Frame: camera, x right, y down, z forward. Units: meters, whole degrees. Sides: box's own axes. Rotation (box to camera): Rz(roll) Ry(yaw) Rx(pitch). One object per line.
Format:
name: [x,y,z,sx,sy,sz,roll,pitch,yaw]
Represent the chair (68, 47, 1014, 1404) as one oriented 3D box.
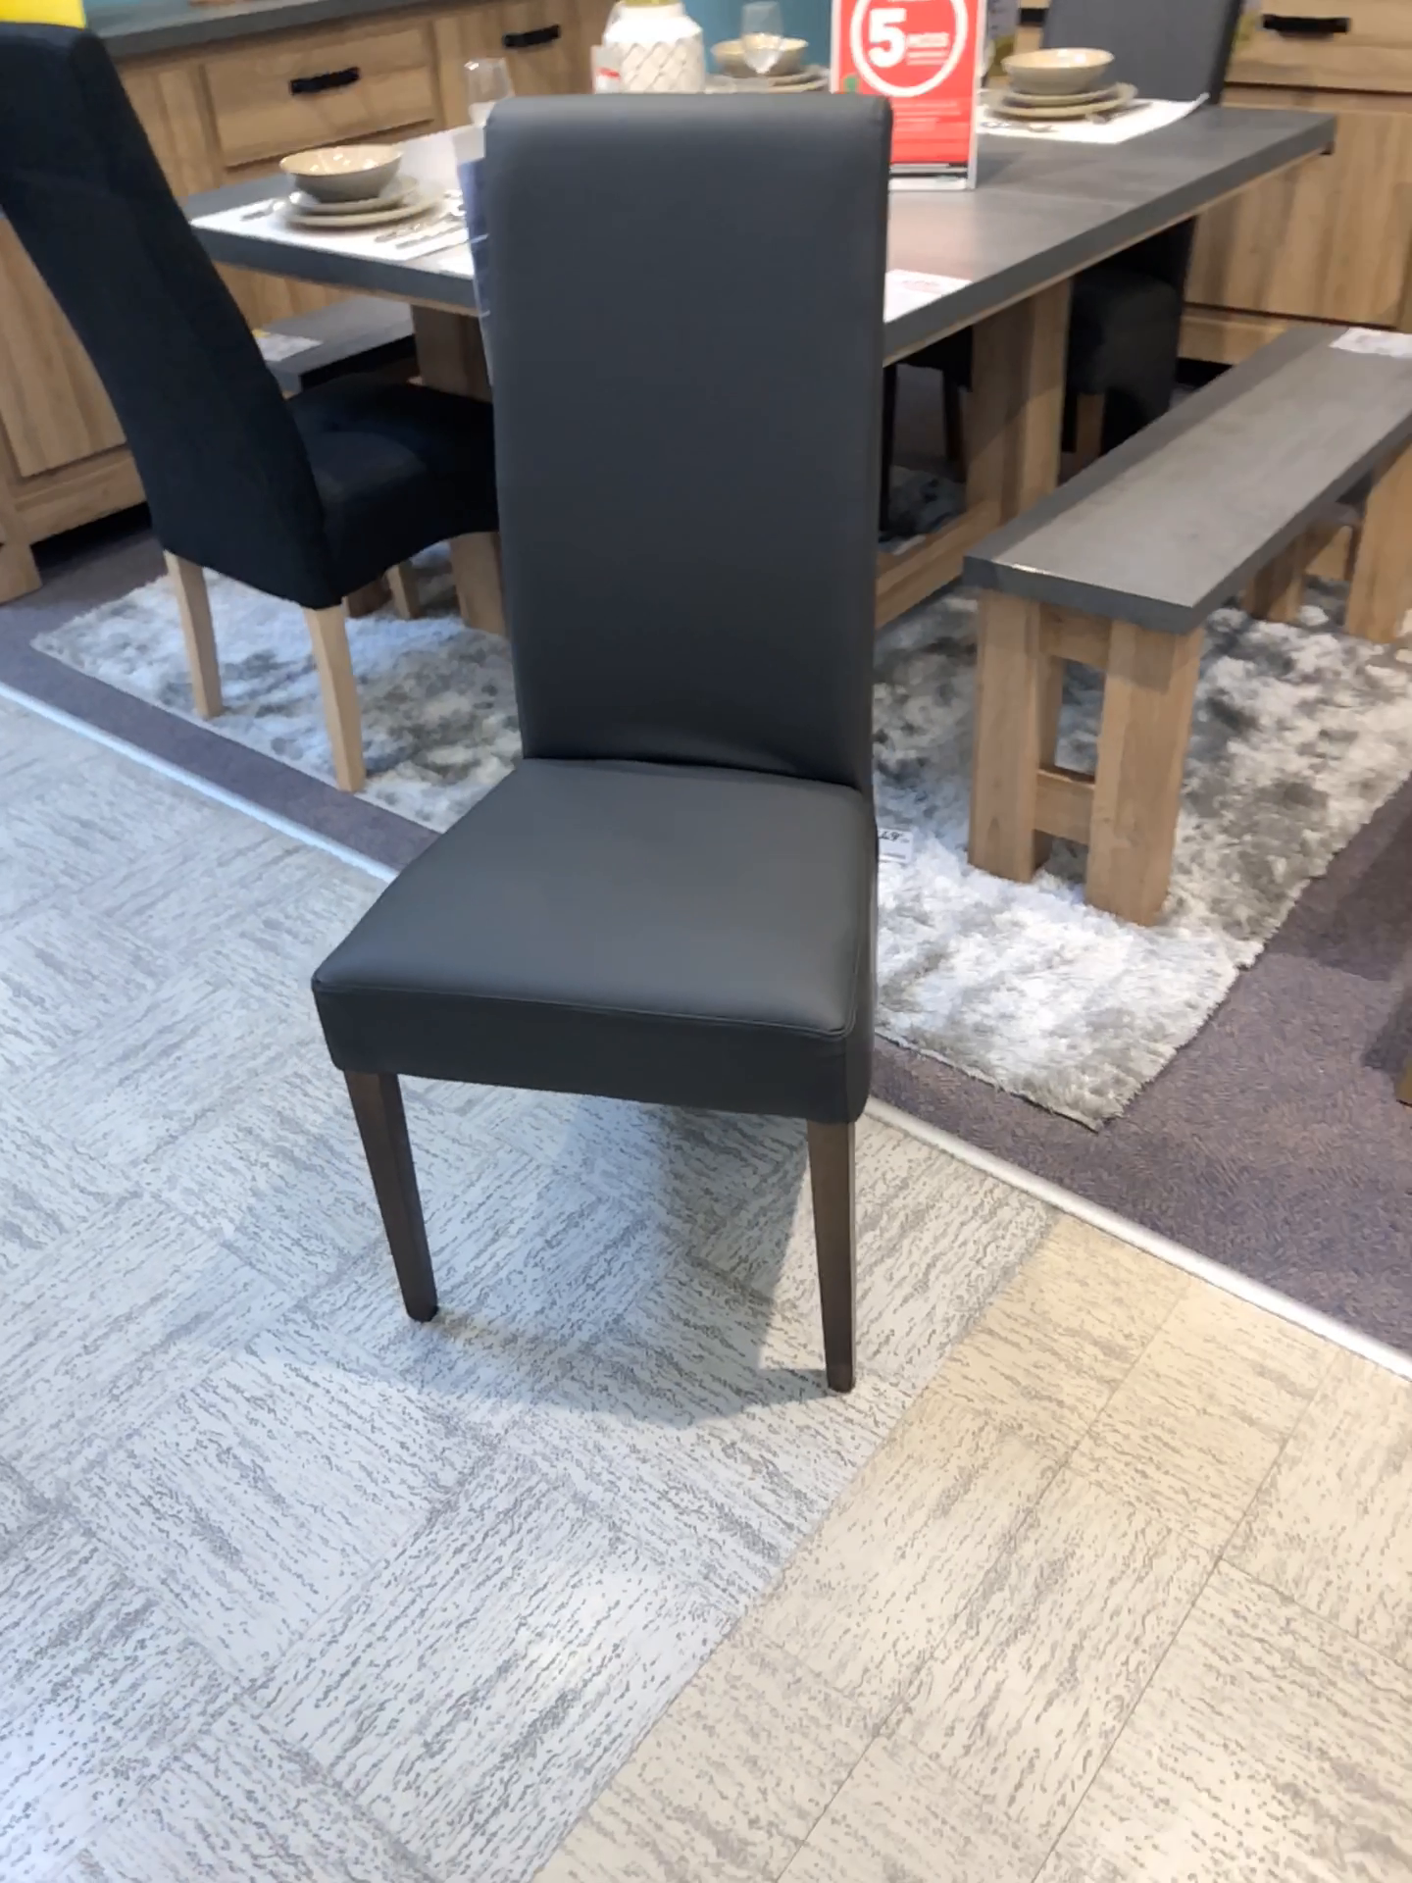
chair: [-0.038,-0.177,1.392,0.520,1.014,0.574,5,37,12]
